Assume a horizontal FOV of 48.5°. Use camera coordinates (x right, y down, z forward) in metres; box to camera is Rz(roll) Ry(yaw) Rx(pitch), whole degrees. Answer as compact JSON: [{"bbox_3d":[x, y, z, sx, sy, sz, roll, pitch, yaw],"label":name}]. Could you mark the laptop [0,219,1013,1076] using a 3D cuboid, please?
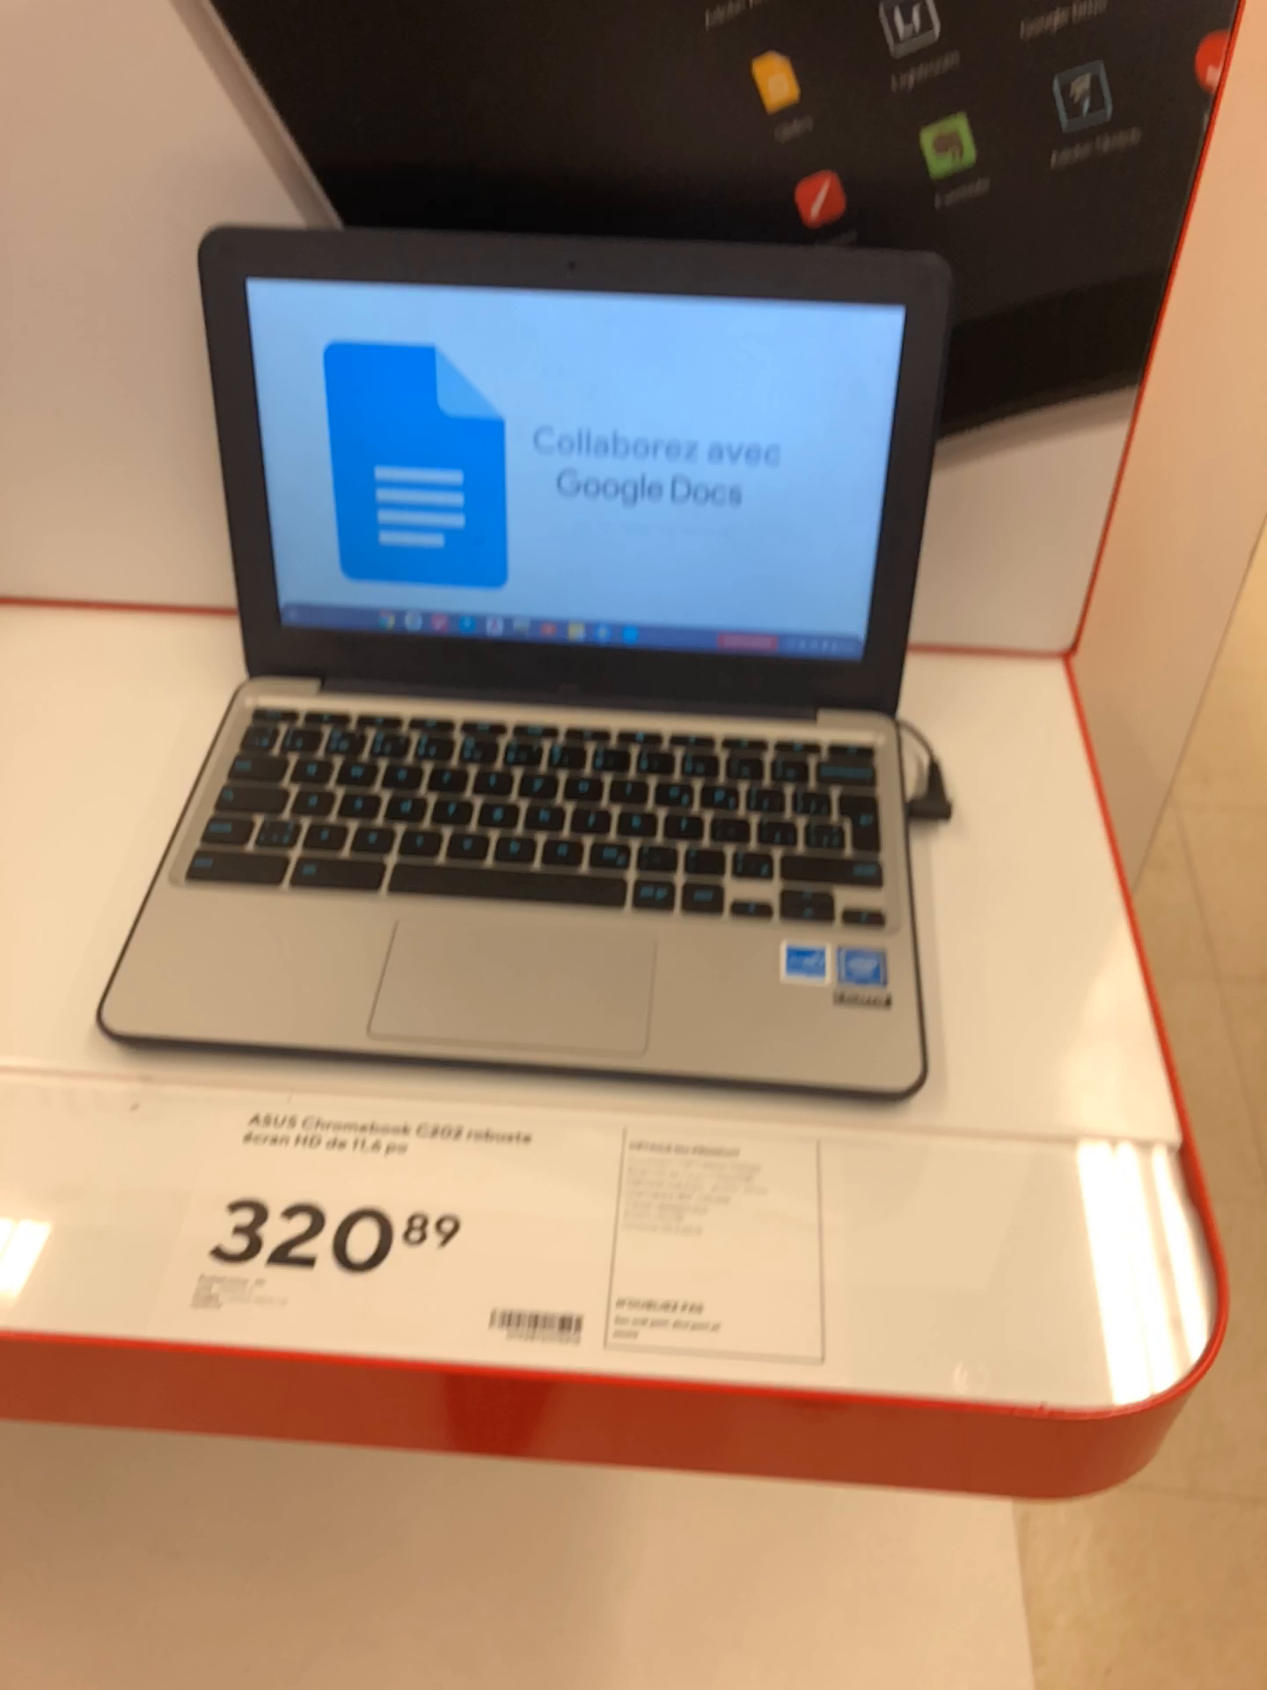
[{"bbox_3d":[-0.033,-0.077,0.498,0.274,0.174,0.231,3,46,2],"label":"laptop"}]
